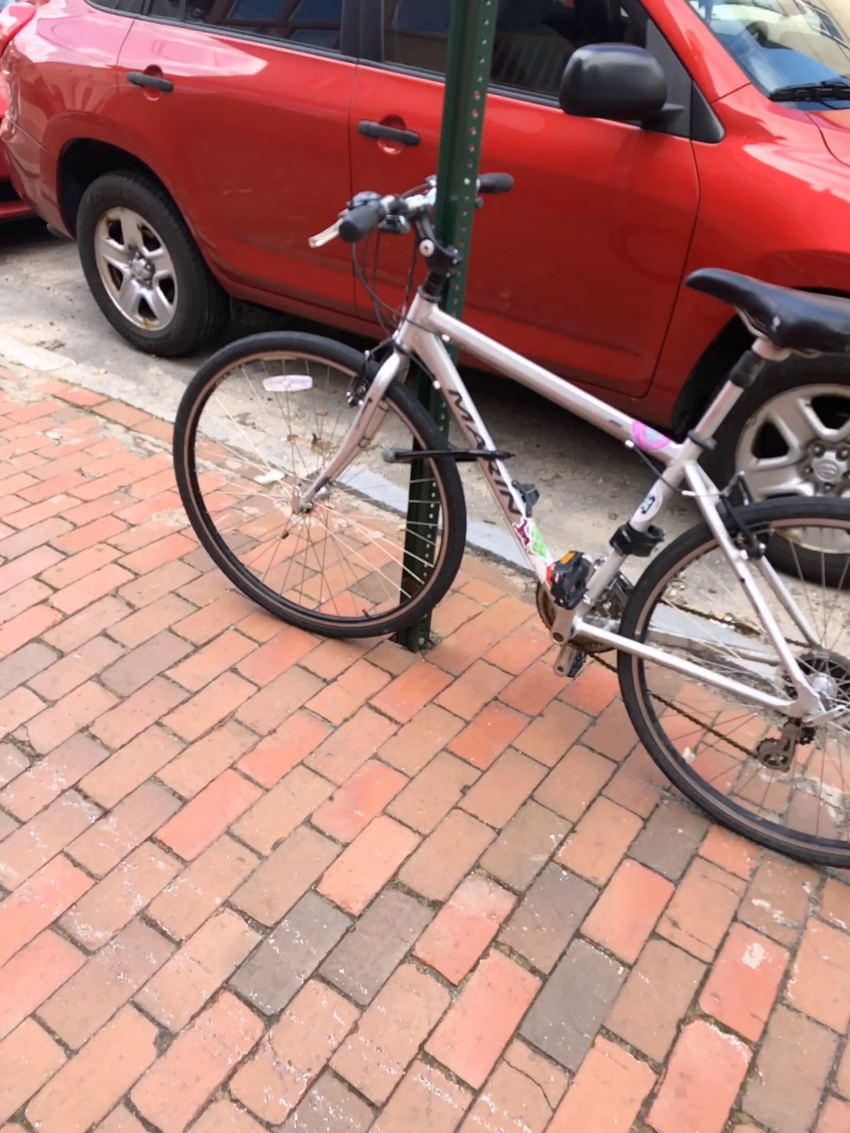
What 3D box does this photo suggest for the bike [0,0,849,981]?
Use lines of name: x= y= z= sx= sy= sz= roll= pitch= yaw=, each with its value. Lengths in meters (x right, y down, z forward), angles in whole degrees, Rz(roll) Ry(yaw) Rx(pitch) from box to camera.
bike: x=0.156 y=-0.242 z=1.615 sx=1.561 sy=1.010 sz=0.612 roll=23 pitch=40 yaw=20
